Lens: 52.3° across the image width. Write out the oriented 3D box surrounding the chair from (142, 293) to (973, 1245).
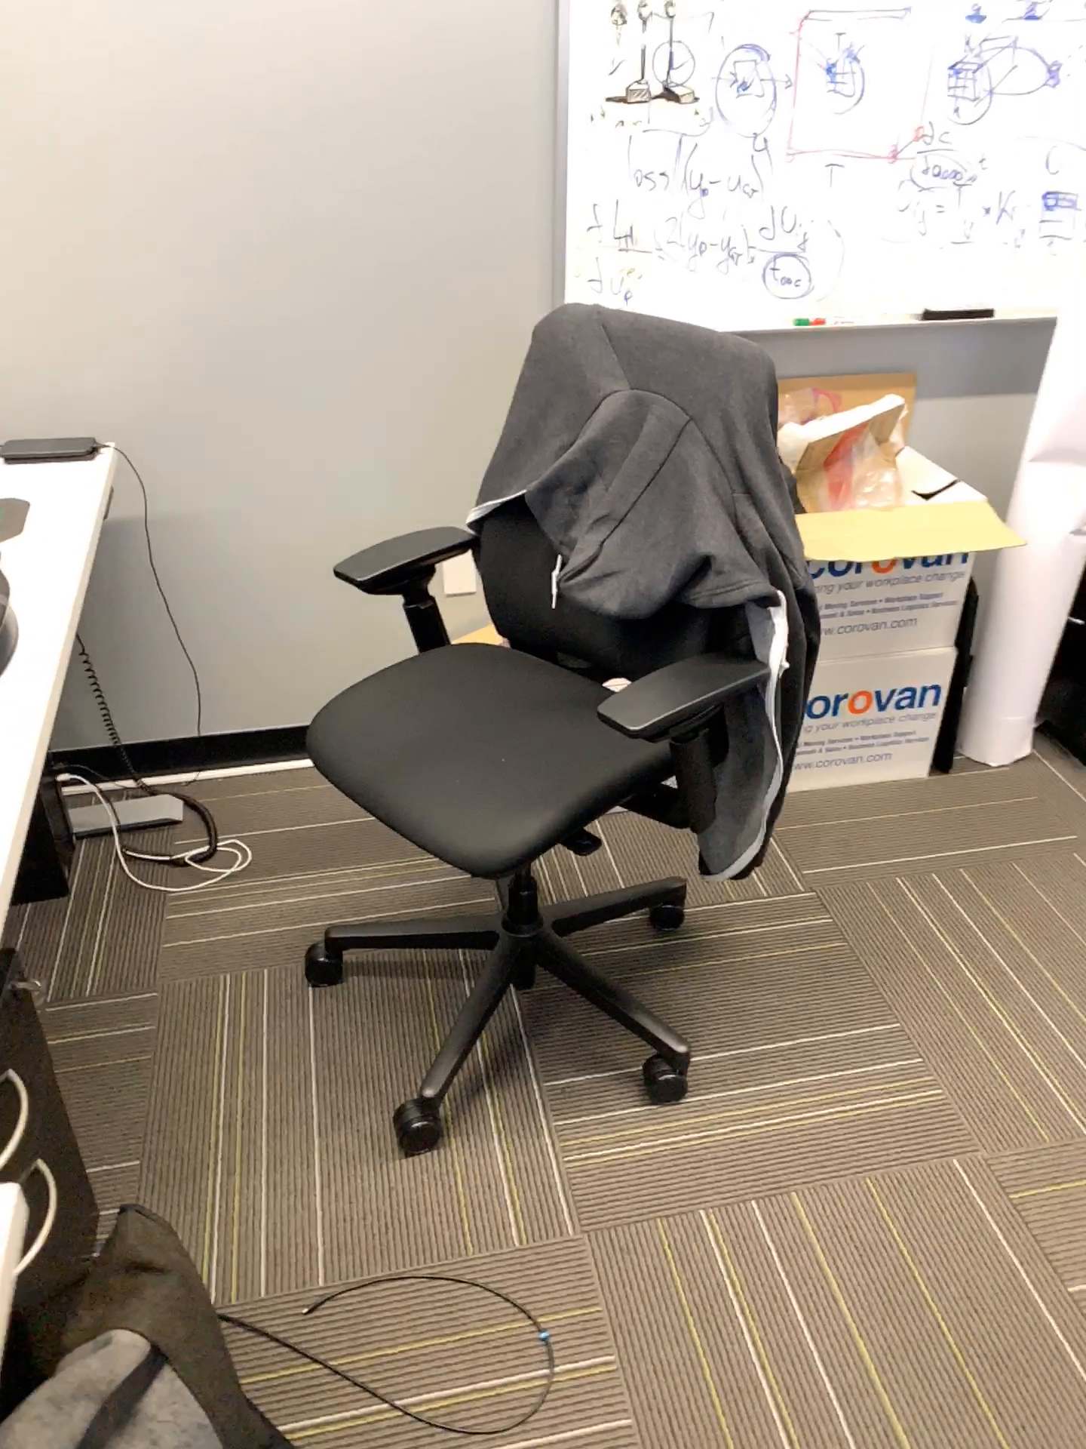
[{"bbox_3d":[-0.018,-0.015,1.652,0.730,0.994,0.774,-20,37,-30],"label":"chair"}]
